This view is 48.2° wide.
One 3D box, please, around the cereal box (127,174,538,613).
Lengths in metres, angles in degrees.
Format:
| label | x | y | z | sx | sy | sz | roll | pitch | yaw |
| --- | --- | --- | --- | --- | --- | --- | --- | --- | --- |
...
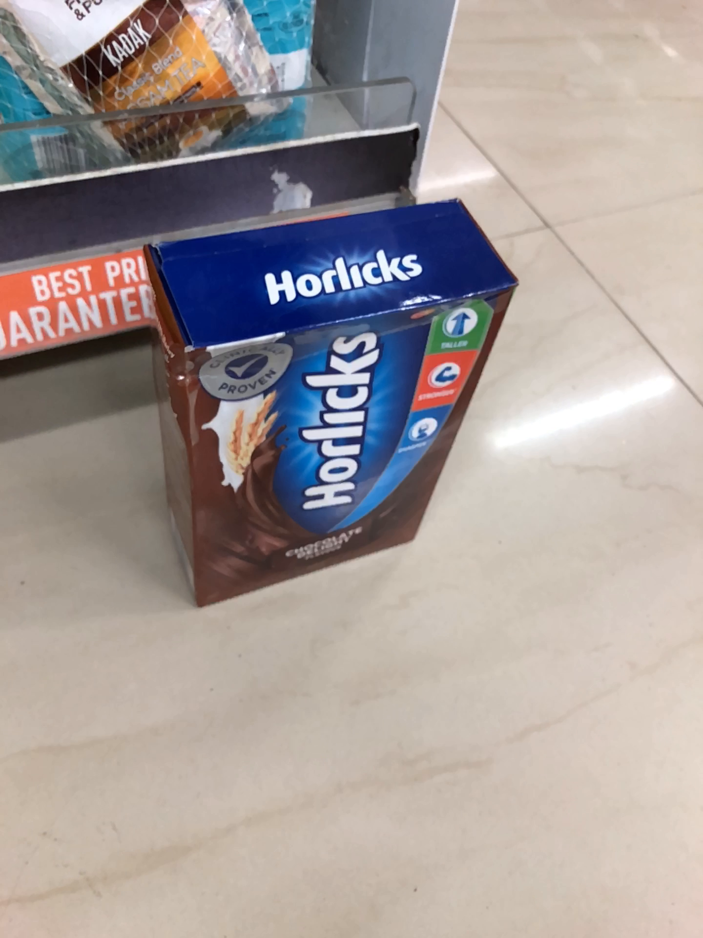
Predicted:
| label | x | y | z | sx | sy | sz | roll | pitch | yaw |
| --- | --- | --- | --- | --- | --- | --- | --- | --- | --- |
| cereal box | -0.019 | -0.023 | 0.374 | 0.140 | 0.209 | 0.060 | -15 | 60 | -19 |
